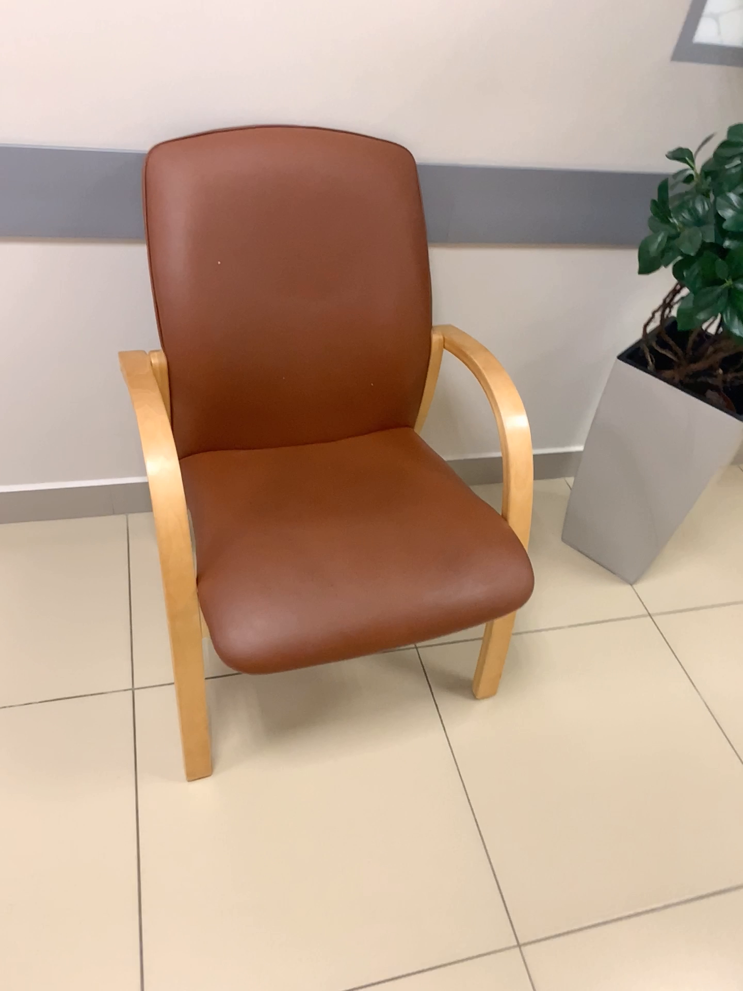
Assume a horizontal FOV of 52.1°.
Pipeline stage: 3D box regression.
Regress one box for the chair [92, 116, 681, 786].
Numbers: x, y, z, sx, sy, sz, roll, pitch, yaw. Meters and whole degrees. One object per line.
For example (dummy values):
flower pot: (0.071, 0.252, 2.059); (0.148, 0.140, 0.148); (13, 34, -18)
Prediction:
chair: (-0.077, -0.064, 1.406); (0.671, 0.984, 0.602); (-9, 46, -20)
